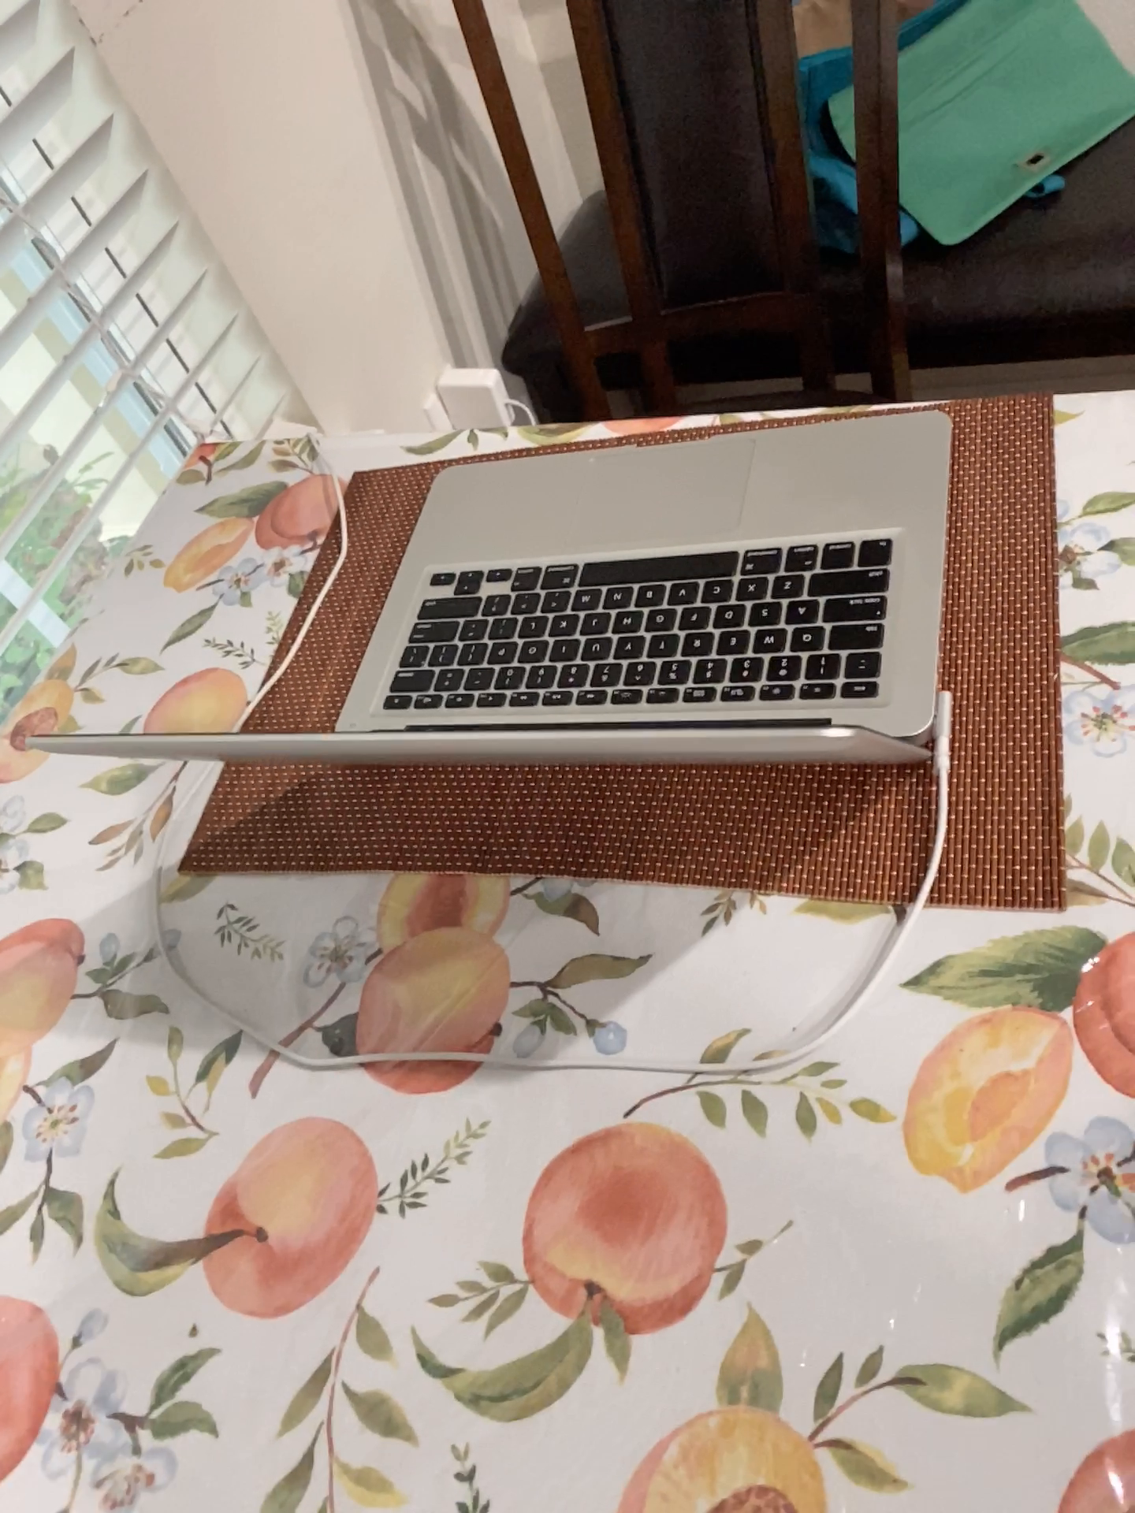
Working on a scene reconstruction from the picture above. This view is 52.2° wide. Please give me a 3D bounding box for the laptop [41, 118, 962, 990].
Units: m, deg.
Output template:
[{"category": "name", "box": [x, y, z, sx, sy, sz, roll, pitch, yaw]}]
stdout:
[{"category": "laptop", "box": [0.006, -0.097, 0.546, 0.317, 0.162, 0.349, 0, 54, 23]}]
